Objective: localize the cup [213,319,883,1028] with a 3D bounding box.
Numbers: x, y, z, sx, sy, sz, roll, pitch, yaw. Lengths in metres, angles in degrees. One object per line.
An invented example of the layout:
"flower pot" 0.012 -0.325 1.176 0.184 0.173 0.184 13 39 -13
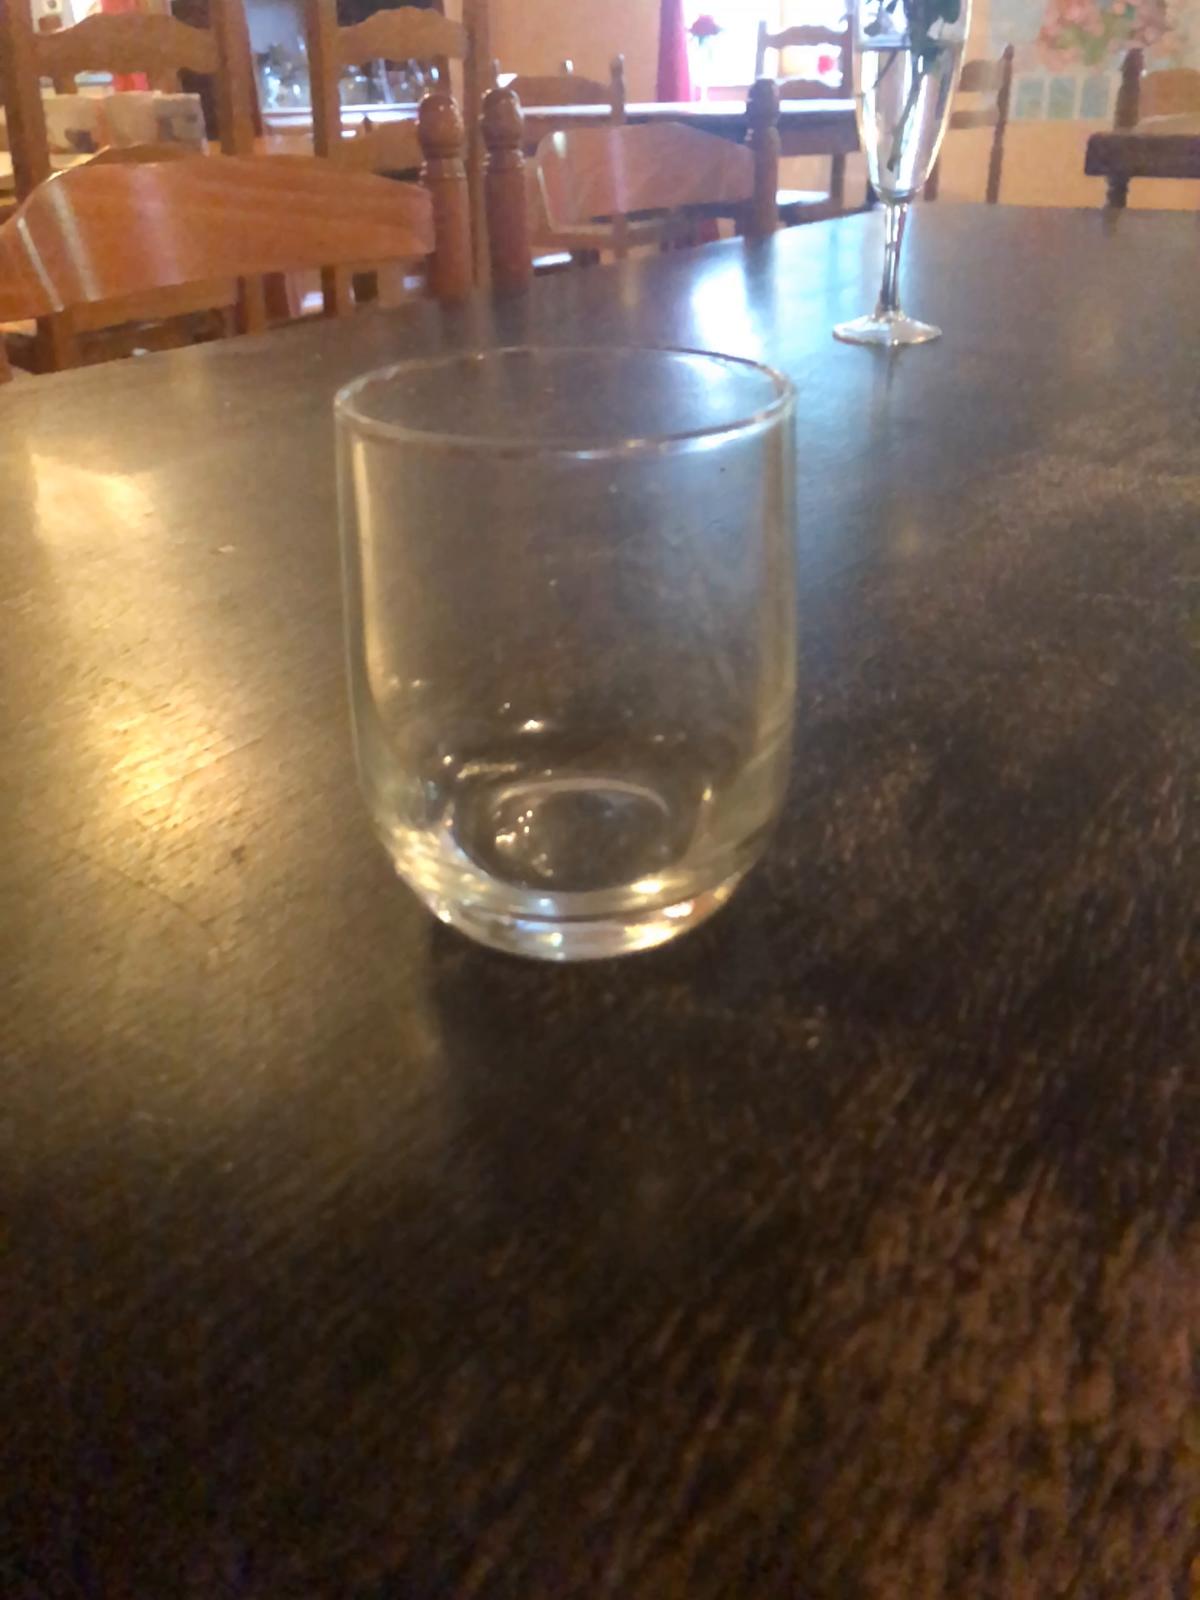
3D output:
"cup" -0.003 -0.028 0.219 0.070 0.084 0.078 15 33 28
